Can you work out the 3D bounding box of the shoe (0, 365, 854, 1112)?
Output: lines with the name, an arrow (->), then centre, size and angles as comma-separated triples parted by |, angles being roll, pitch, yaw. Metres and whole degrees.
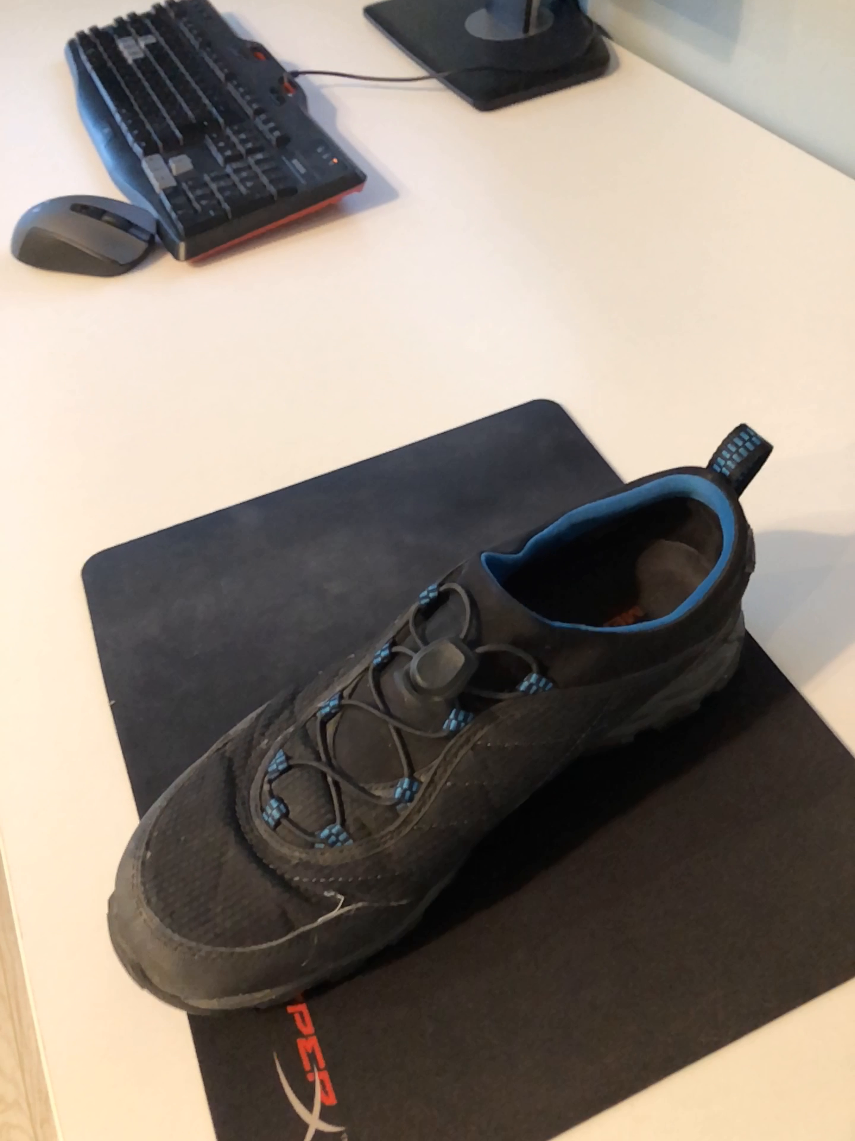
shoe -> 0.008, 0.053, 0.381 | 0.301, 0.109, 0.131 | -28, 52, -16
